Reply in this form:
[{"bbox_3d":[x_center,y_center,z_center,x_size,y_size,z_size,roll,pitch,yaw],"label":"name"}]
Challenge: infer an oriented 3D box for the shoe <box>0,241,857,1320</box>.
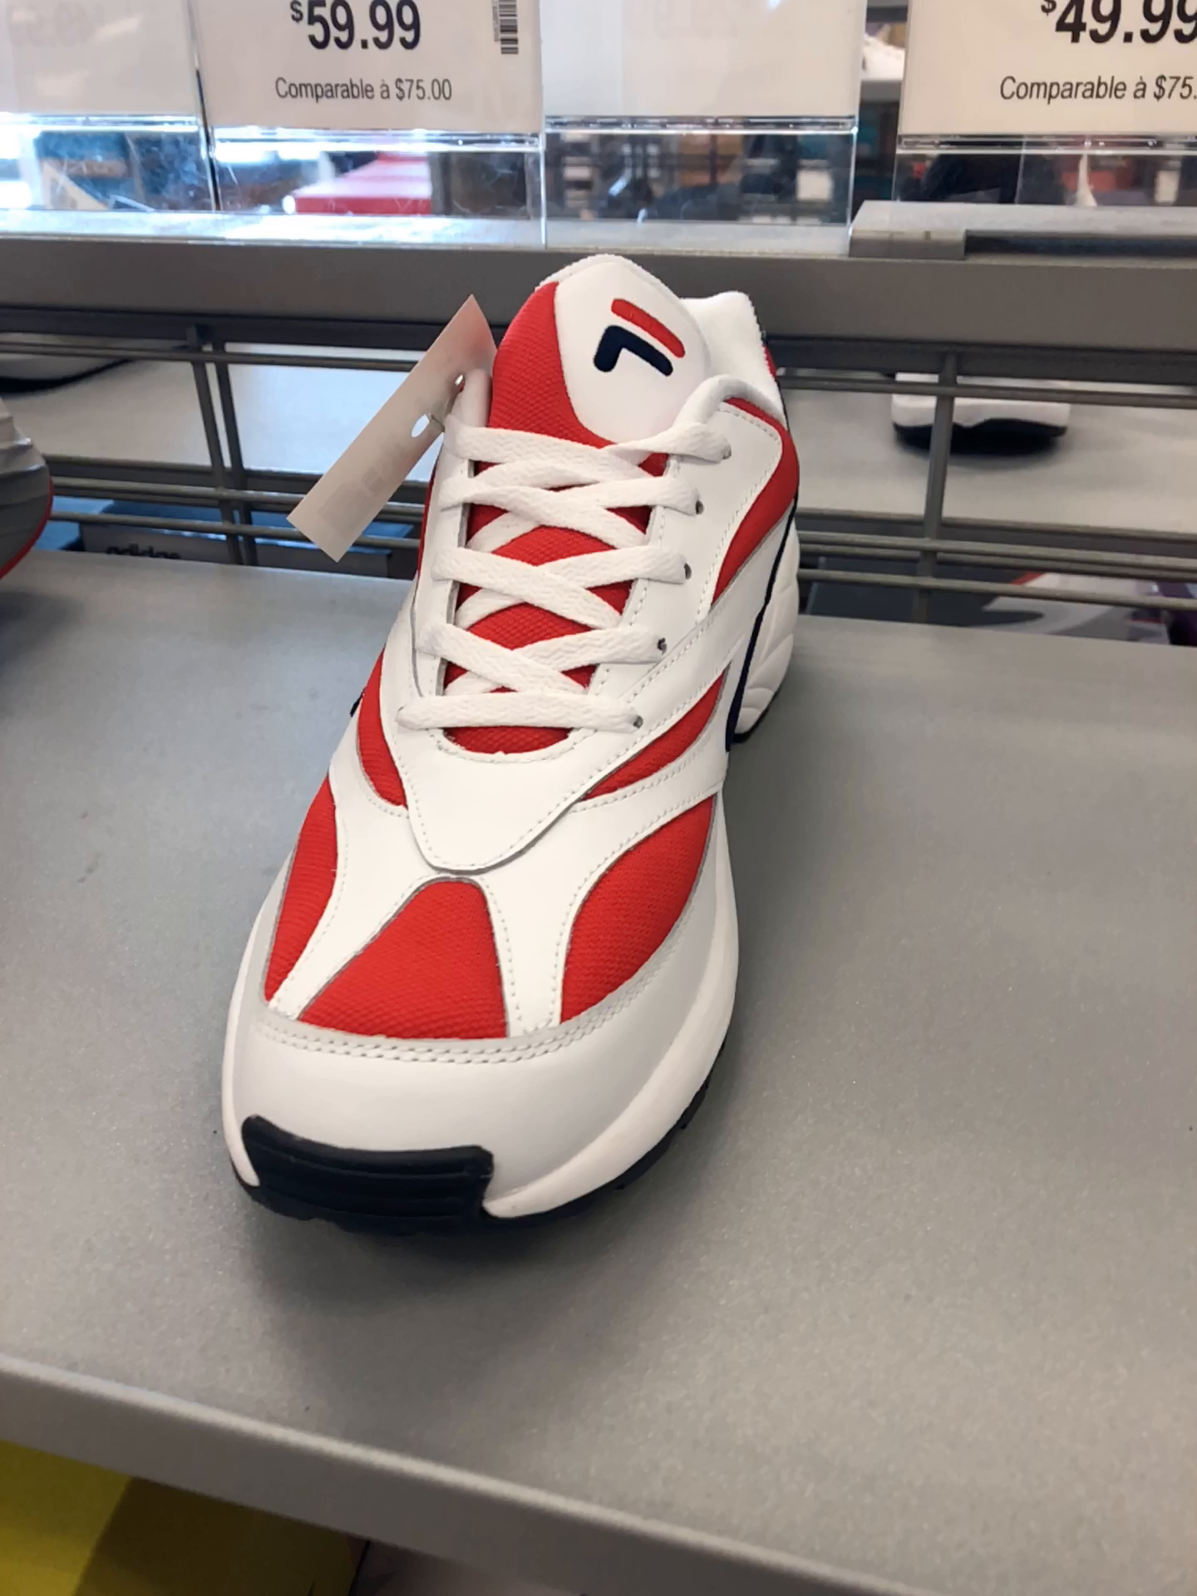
[{"bbox_3d":[-0.014,-0.040,0.328,0.120,0.129,0.272,7,35,13],"label":"shoe"}]
